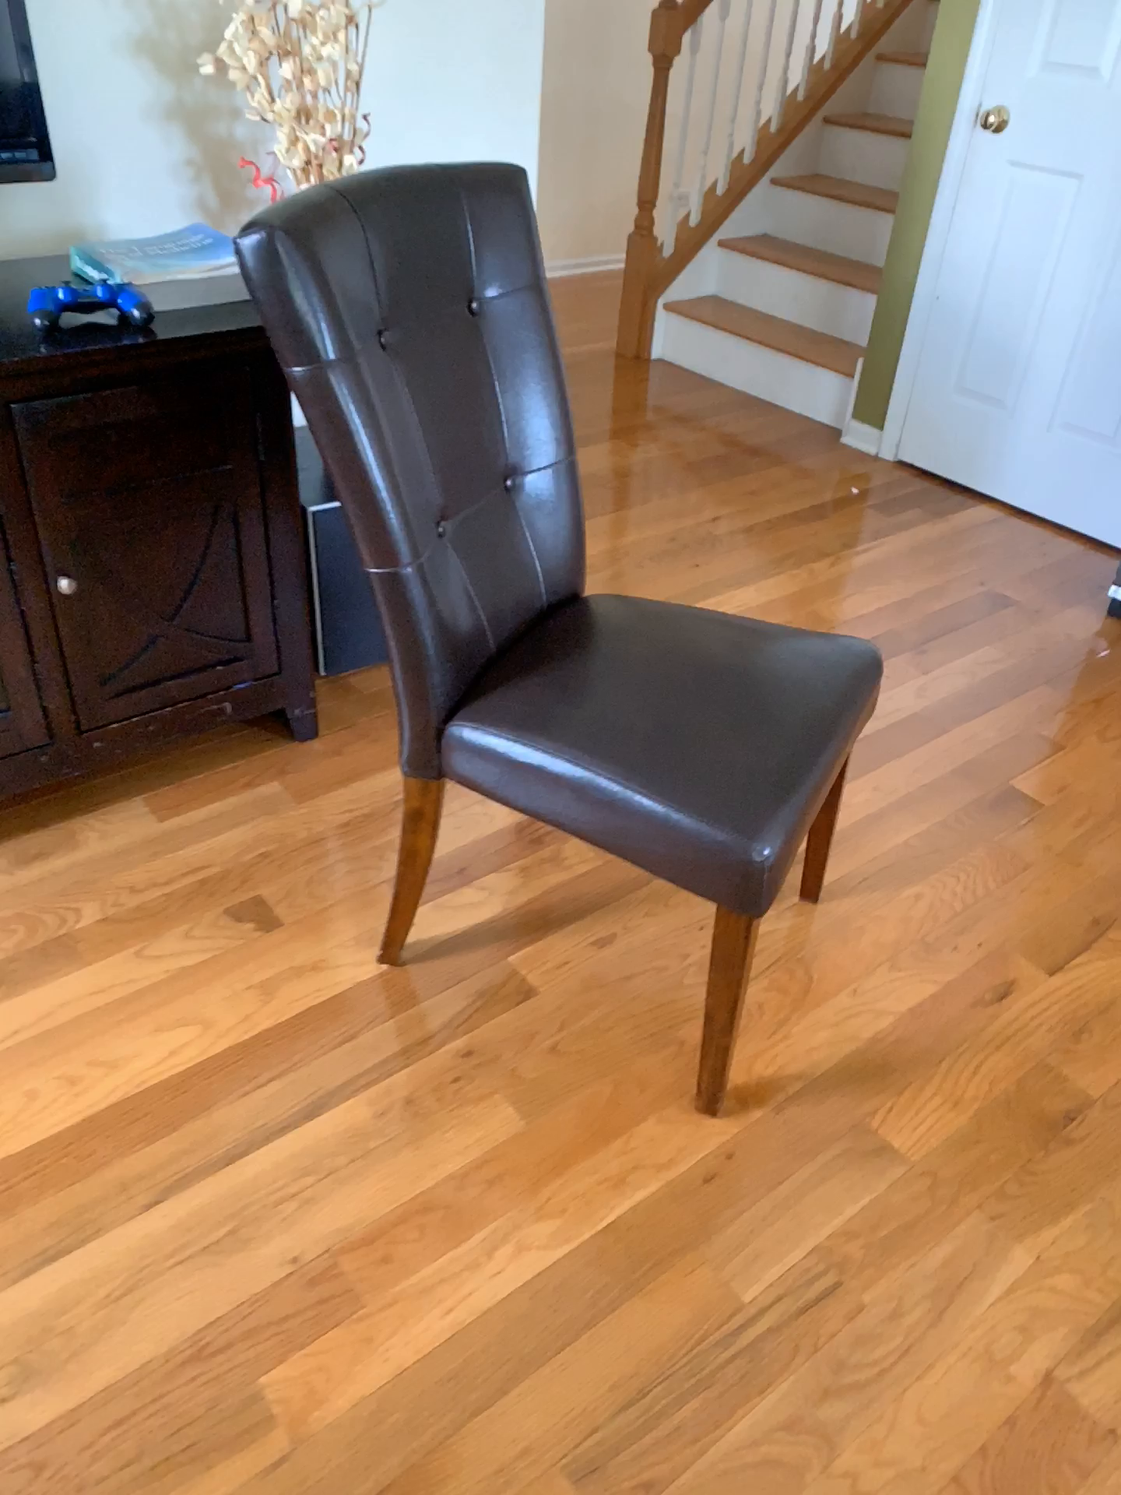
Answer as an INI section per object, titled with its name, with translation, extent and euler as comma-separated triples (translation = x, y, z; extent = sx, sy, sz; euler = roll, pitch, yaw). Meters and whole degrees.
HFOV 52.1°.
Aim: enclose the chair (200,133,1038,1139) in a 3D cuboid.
[chair]
translation = 0.056, -0.152, 1.420
extent = 0.702, 0.968, 0.501
euler = 18, 37, 19
